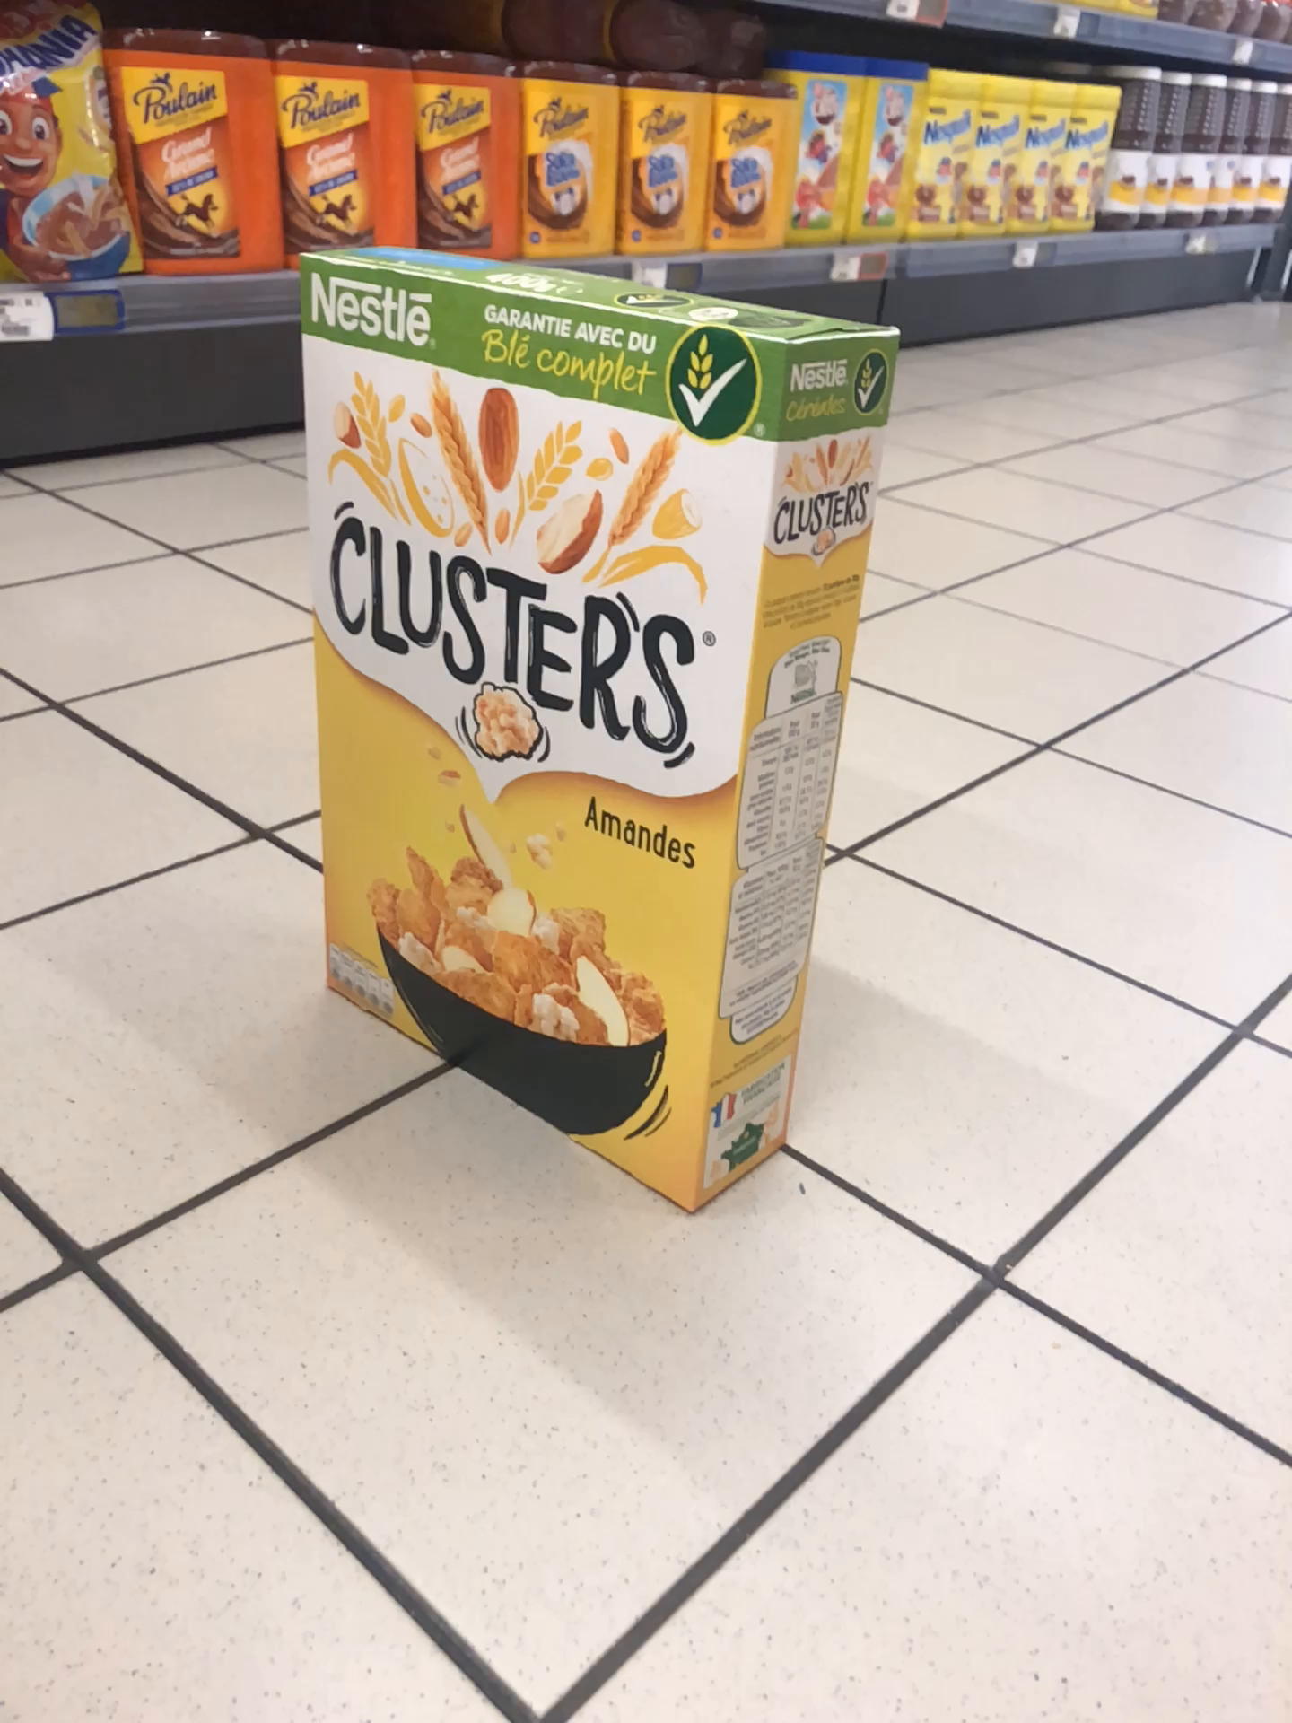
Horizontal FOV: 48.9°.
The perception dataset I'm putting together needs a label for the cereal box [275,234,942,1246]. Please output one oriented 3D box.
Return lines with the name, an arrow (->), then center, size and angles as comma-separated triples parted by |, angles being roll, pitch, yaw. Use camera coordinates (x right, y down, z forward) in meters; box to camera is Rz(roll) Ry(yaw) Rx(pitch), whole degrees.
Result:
cereal box -> -0.029, -0.048, 0.473 | 0.210, 0.278, 0.060 | 24, 32, 35
